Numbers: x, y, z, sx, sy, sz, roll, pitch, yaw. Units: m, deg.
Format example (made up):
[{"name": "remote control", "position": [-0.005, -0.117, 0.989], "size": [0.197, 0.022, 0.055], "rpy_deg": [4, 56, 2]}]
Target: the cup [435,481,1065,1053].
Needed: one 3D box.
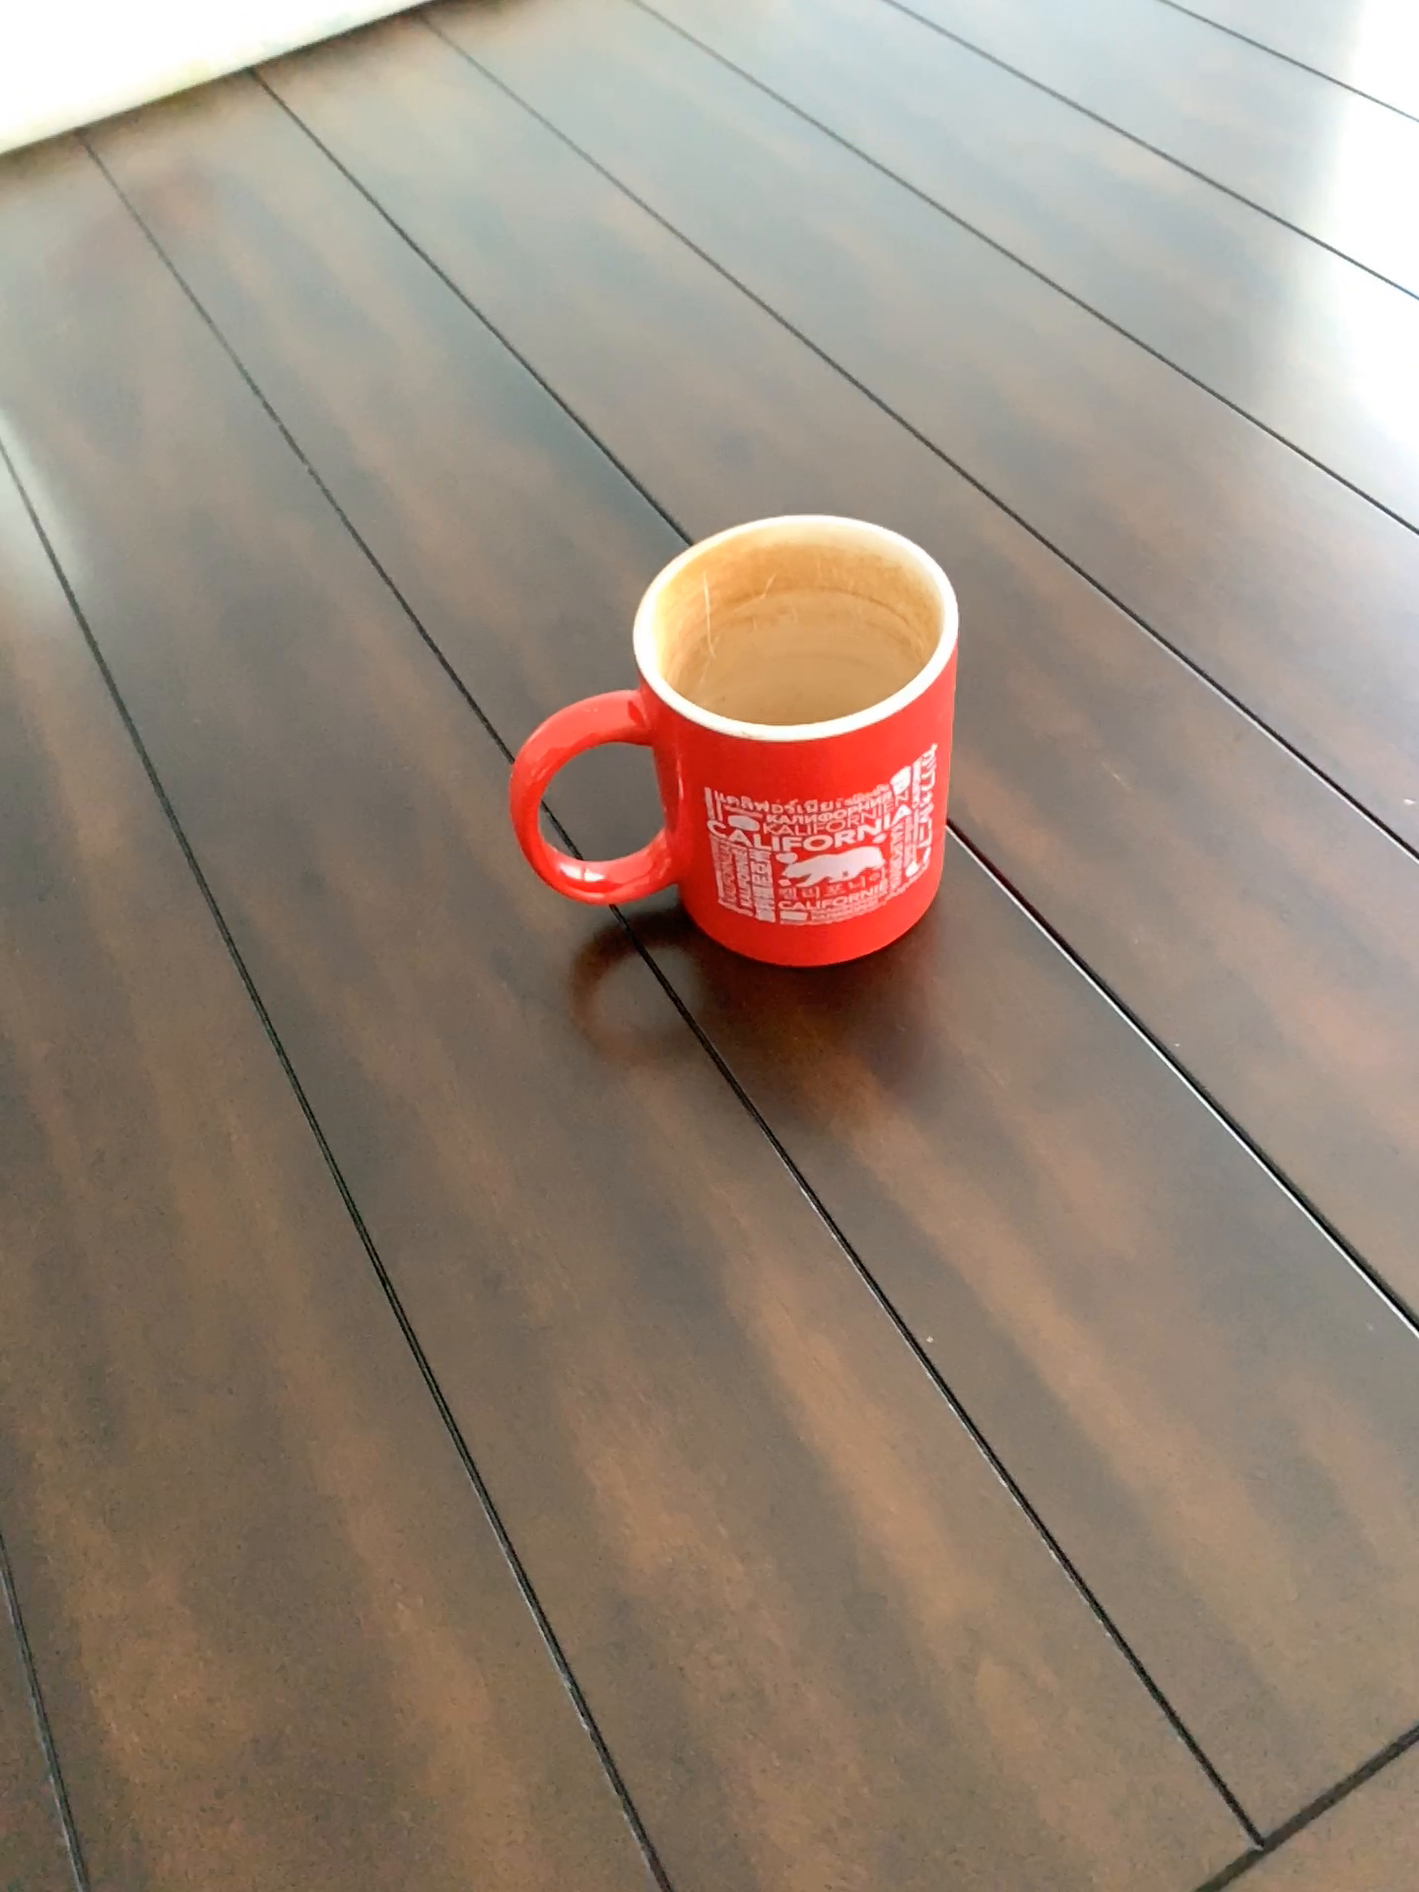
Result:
[{"name": "cup", "position": [0.009, -0.052, 0.414], "size": [0.140, 0.080, 0.100], "rpy_deg": [-17, 53, -6]}]
